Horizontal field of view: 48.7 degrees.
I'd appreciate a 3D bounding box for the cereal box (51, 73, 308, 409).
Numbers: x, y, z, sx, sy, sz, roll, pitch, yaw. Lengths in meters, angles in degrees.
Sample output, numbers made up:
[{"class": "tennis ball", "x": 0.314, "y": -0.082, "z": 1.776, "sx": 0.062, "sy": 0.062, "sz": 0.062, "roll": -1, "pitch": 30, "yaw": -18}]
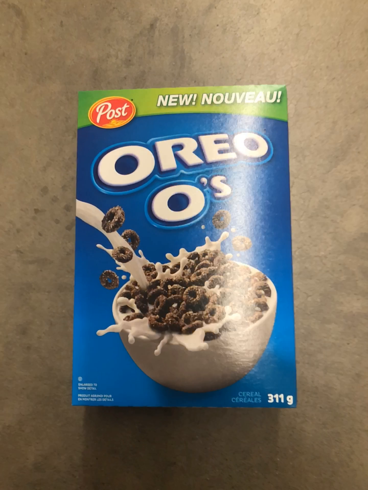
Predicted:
[{"class": "cereal box", "x": -0.006, "y": -0.003, "z": 0.380, "sx": 0.210, "sy": 0.070, "sz": 0.280, "roll": -1, "pitch": 84, "yaw": 5}]
